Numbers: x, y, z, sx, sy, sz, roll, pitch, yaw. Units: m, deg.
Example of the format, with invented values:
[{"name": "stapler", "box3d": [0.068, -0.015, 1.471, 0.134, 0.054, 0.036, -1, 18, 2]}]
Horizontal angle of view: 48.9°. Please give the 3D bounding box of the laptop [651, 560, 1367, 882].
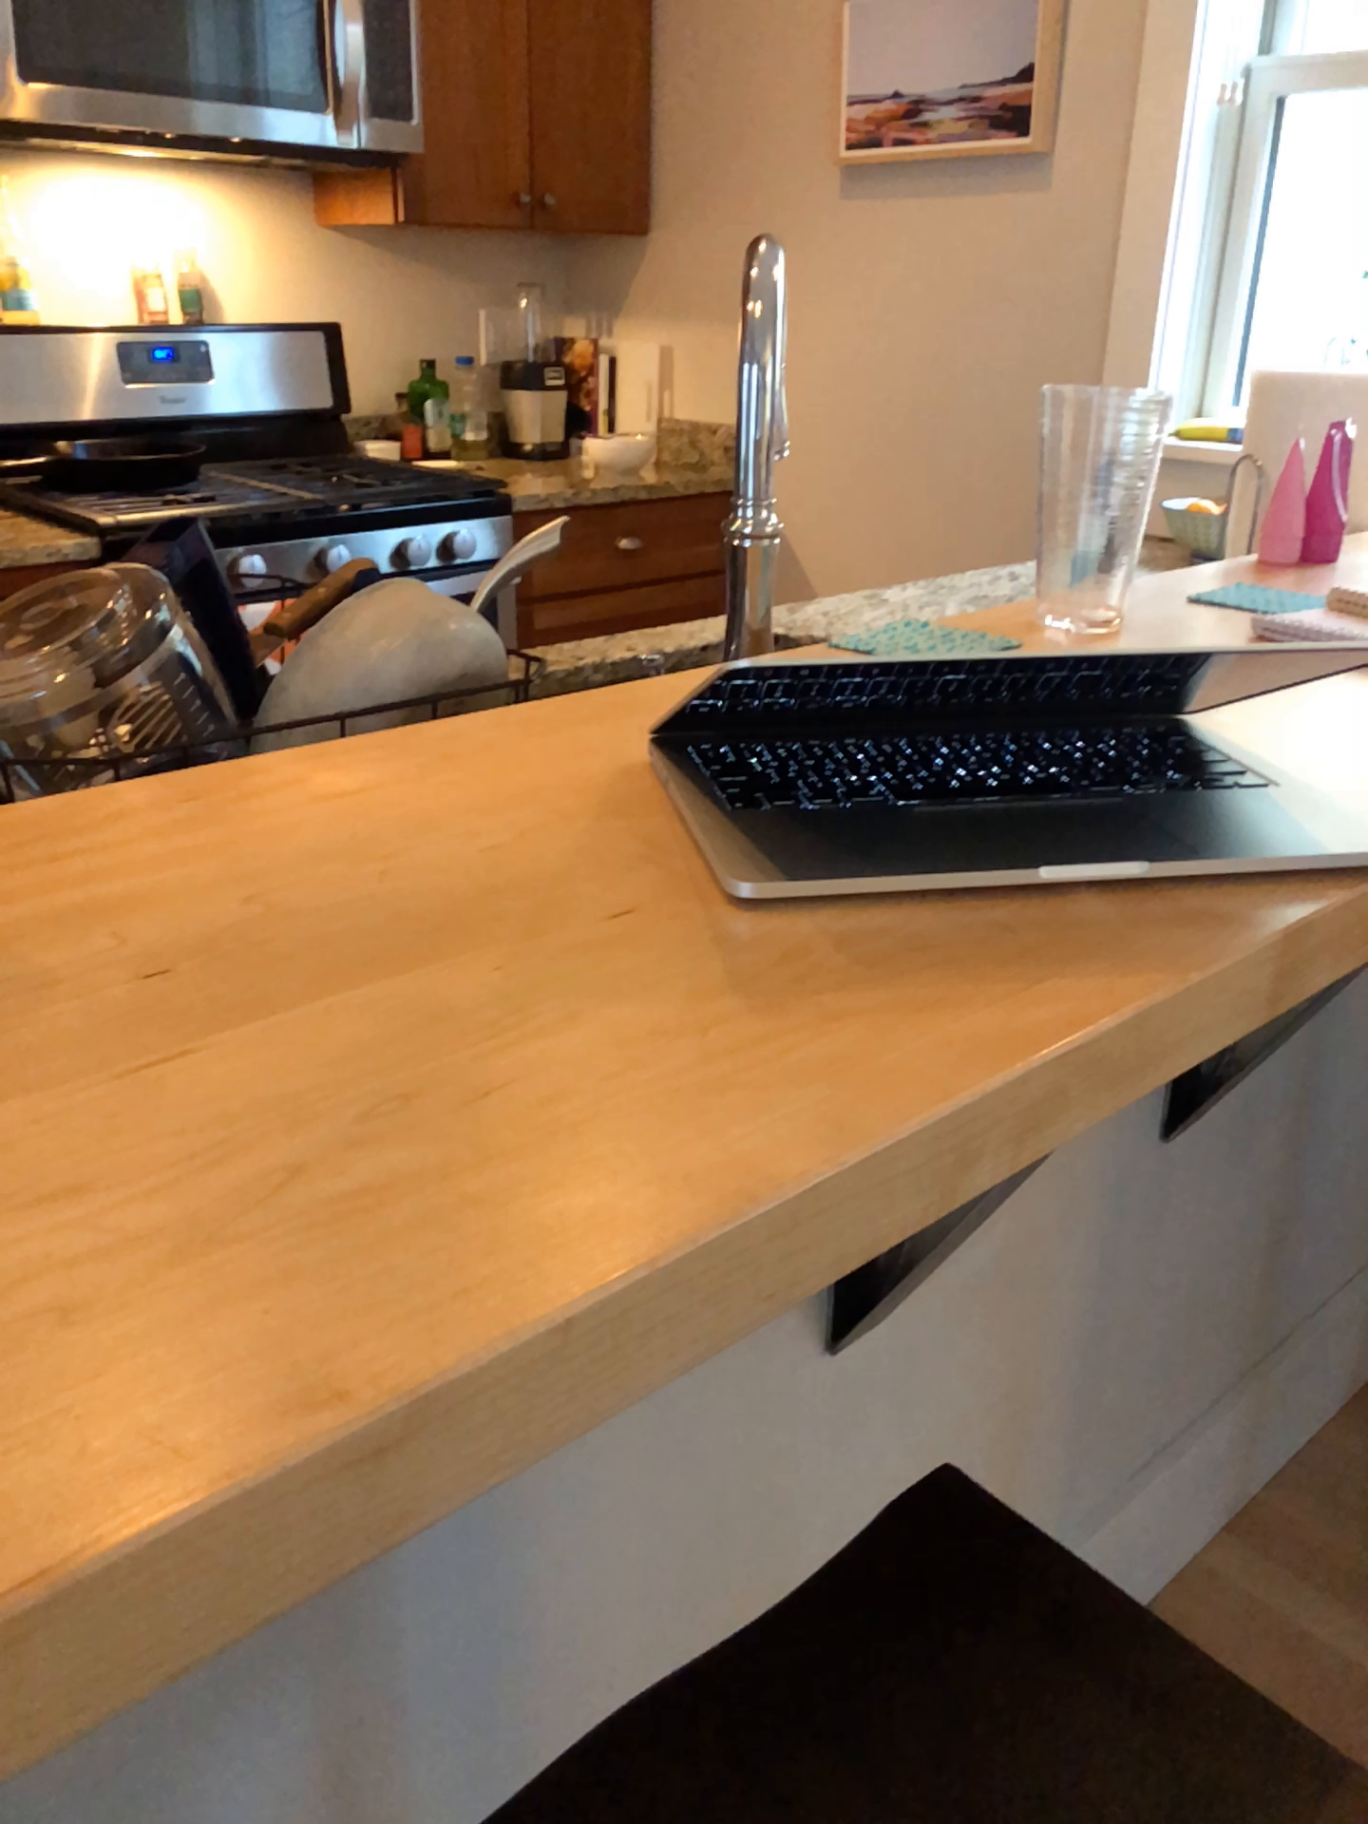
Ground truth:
[{"name": "laptop", "box3d": [0.151, -0.100, 0.699, 0.300, 0.084, 0.211, -3, 23, -10]}]
